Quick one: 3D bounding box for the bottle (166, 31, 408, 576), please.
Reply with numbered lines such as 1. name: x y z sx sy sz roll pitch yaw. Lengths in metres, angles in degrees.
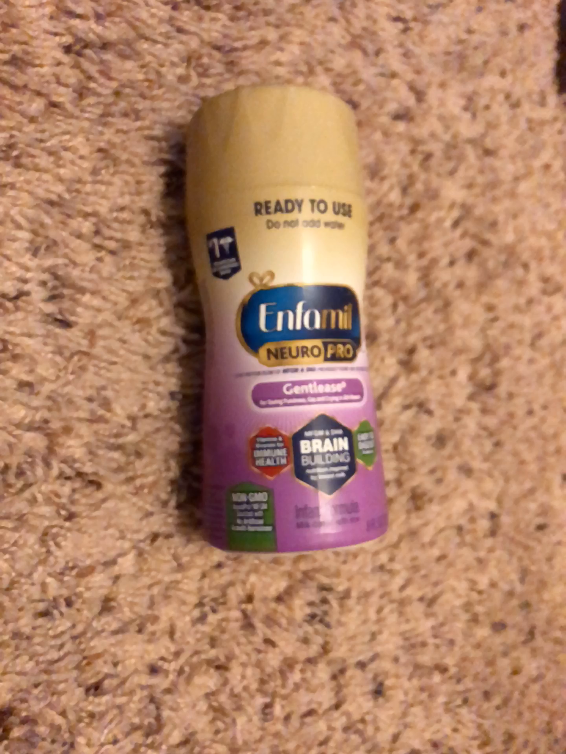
1. bottle: -0.001 -0.021 0.209 0.060 0.060 0.150 -3 88 -3
